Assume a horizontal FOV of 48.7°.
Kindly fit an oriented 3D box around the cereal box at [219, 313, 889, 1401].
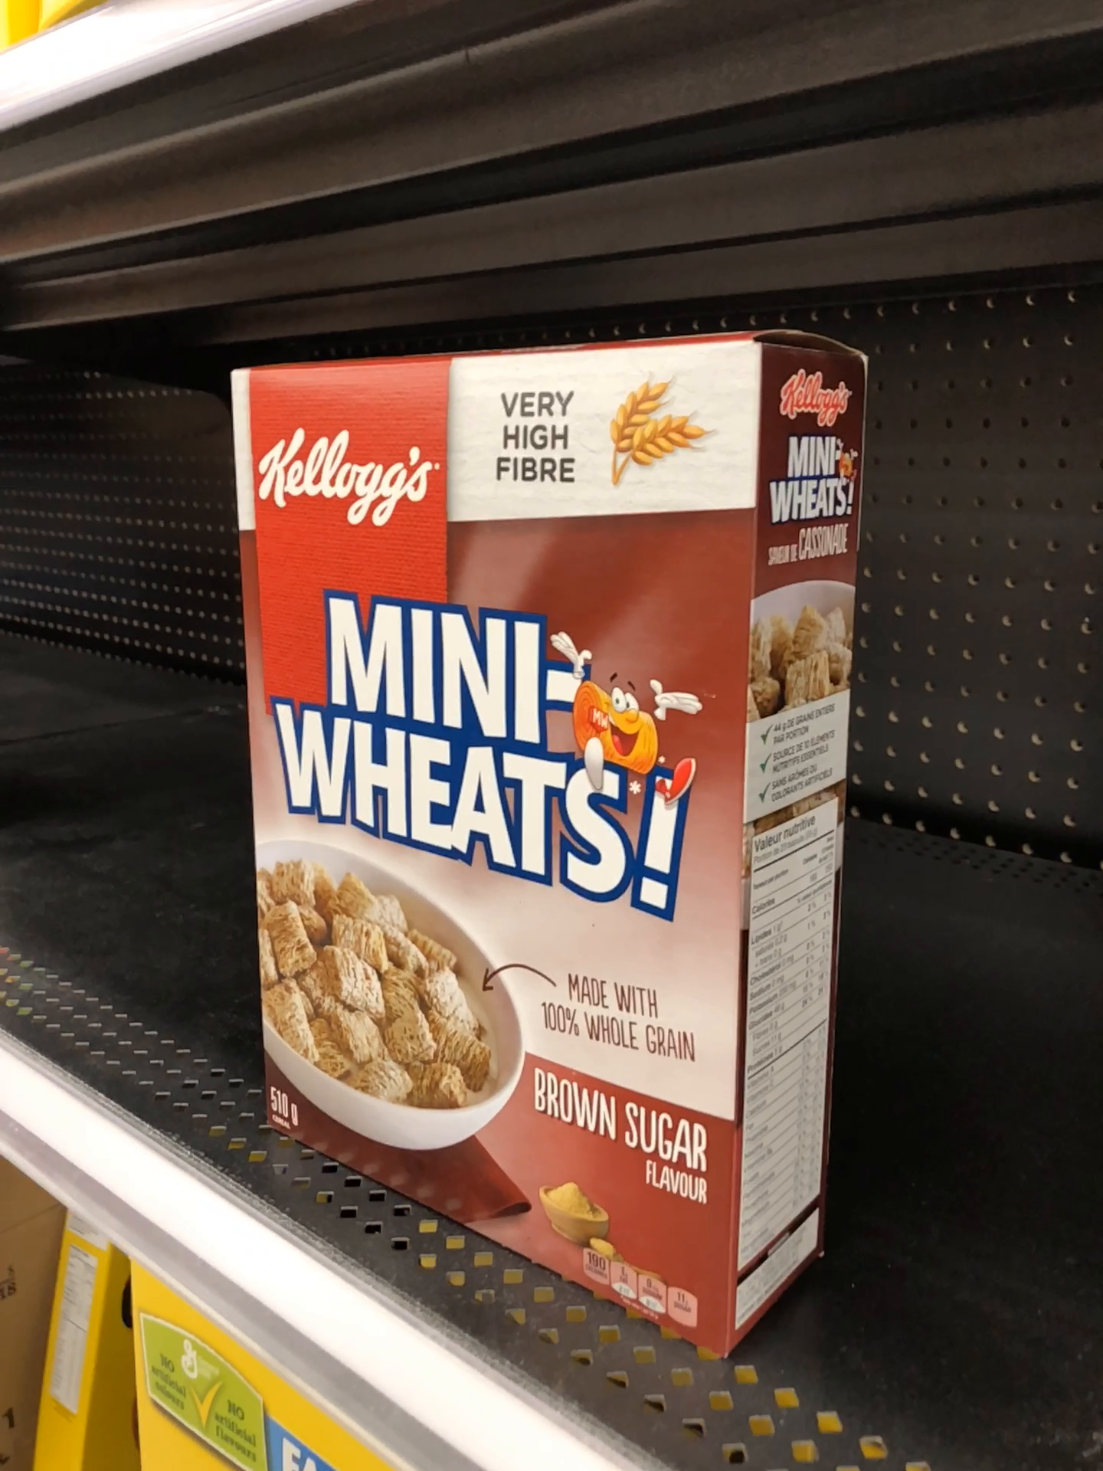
[{"bbox_3d":[-0.009,0.023,0.382,0.200,0.279,0.060,10,16,38],"label":"cereal box"}]
